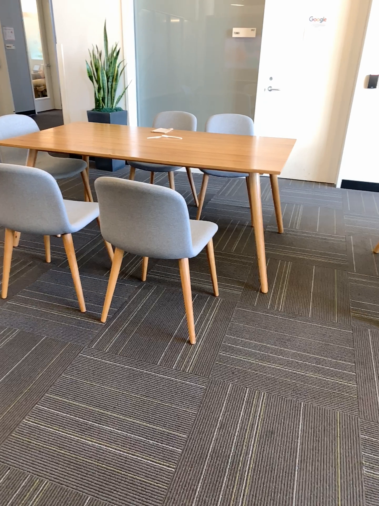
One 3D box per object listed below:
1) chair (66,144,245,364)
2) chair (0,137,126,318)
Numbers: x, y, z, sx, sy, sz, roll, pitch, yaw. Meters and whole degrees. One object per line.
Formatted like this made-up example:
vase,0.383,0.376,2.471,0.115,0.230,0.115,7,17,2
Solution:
chair,-0.124,-0.039,1.866,0.591,0.795,0.572,11,28,18
chair,-0.744,-0.170,2.135,0.571,0.775,0.533,9,28,15
